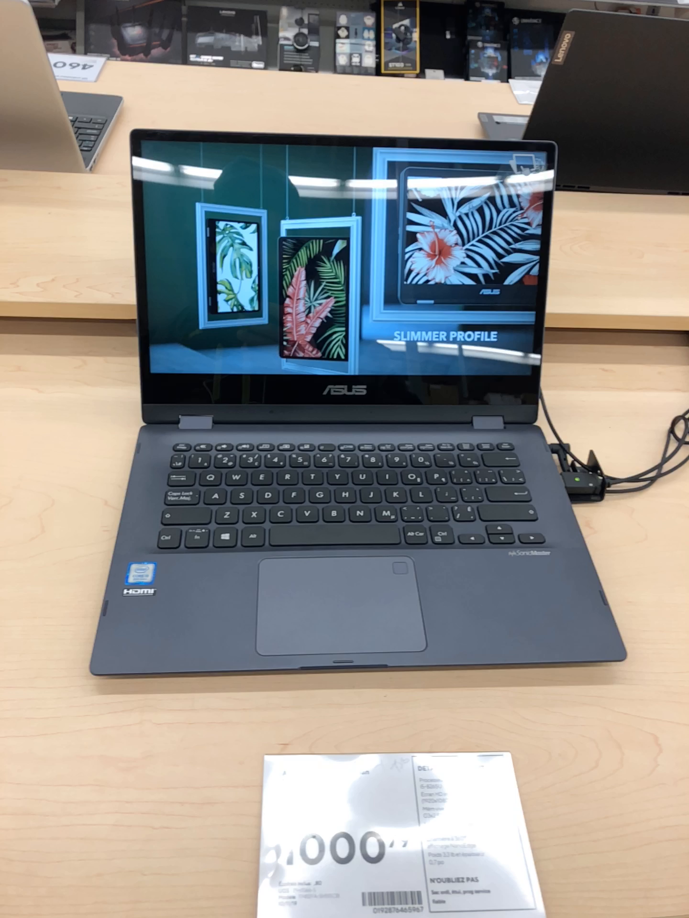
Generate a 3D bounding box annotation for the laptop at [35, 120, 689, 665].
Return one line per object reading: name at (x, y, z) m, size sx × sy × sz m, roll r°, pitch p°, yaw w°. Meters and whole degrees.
laptop at (0.008, -0.060, 0.517) m, size 0.319 × 0.184 × 0.332 m, roll 1°, pitch 45°, yaw -5°
